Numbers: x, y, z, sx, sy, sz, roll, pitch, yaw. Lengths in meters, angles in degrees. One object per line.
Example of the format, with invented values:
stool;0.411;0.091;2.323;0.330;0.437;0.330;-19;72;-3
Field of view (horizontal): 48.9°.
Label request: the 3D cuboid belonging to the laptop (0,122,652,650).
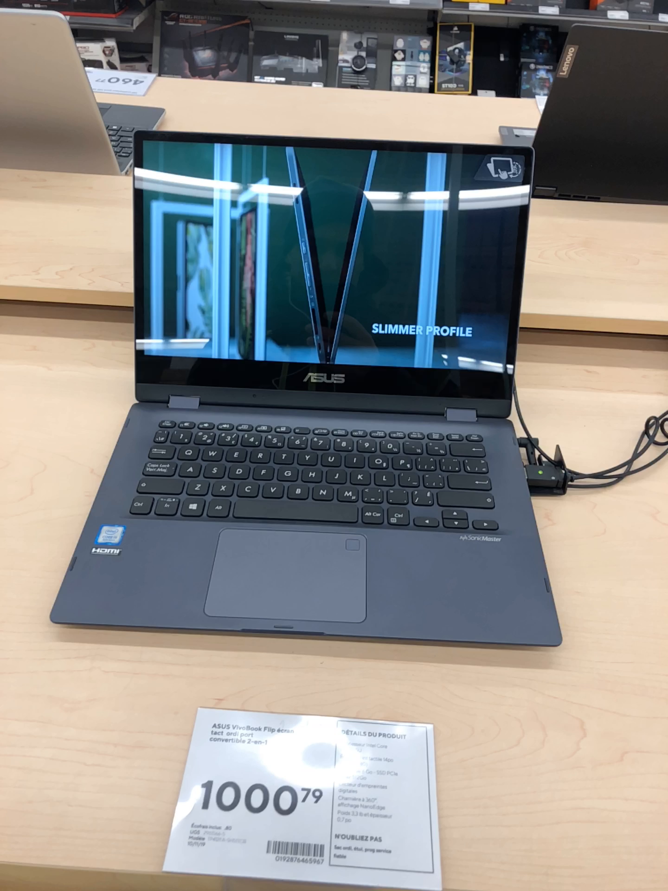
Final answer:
laptop;-0.010;-0.065;0.530;0.319;0.184;0.332;3;44;0
